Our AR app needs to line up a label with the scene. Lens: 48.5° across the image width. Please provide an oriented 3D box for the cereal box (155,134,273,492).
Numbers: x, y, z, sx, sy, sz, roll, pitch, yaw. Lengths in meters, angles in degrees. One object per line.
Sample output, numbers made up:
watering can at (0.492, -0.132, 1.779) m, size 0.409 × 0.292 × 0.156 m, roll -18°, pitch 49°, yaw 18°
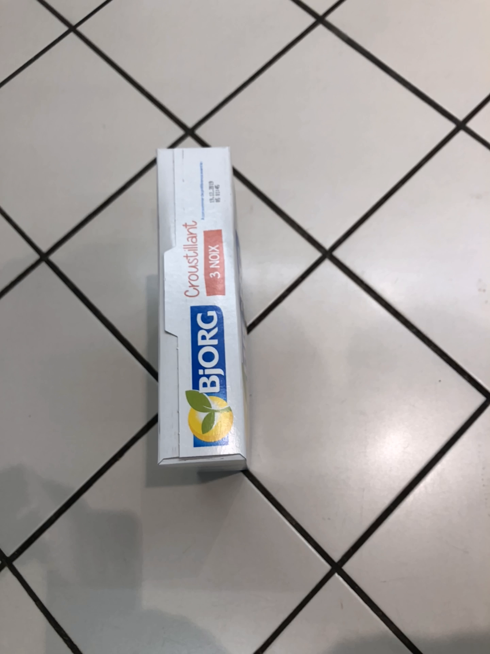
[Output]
cereal box at (-0.022, 0.012, 0.417) m, size 0.060 × 0.220 × 0.210 m, roll -3°, pitch 75°, yaw -1°
